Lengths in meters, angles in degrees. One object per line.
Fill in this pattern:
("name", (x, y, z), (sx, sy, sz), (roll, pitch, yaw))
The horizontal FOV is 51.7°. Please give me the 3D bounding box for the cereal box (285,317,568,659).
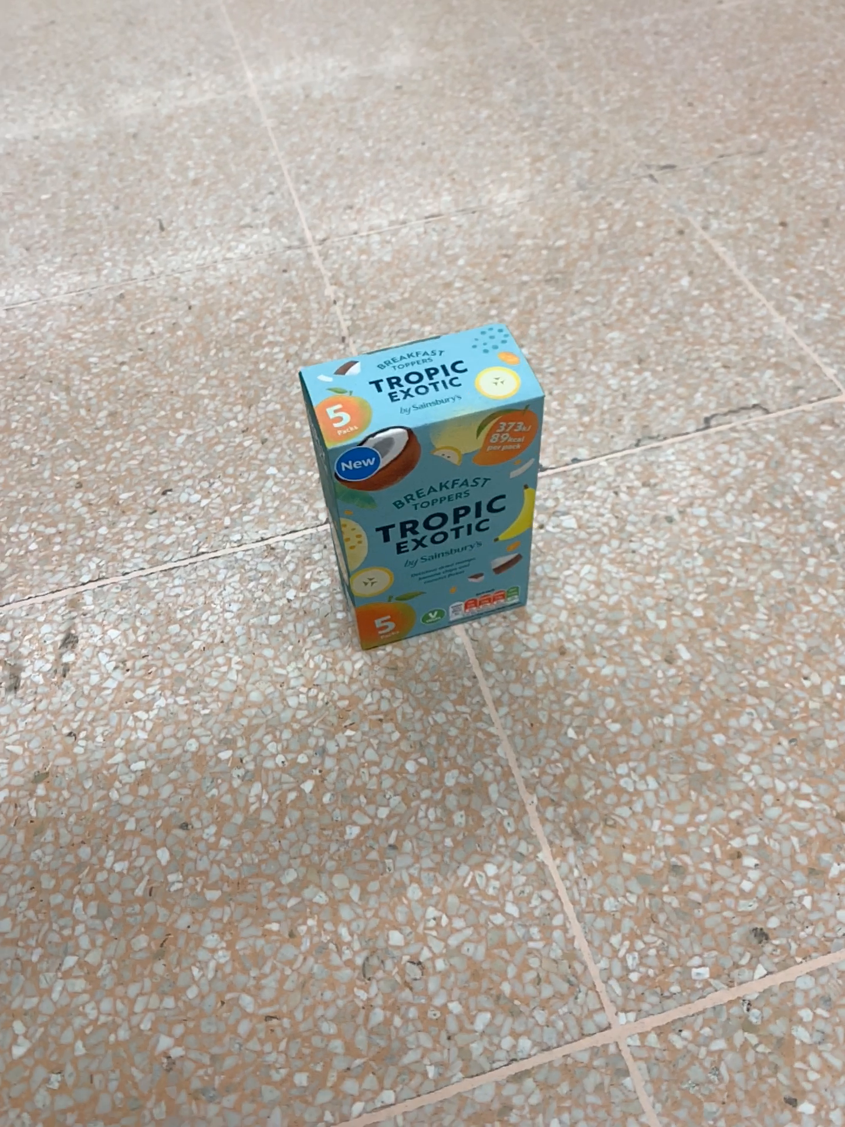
("cereal box", (0.004, -0.031, 0.436), (0.110, 0.149, 0.060), (-15, 52, -8))
